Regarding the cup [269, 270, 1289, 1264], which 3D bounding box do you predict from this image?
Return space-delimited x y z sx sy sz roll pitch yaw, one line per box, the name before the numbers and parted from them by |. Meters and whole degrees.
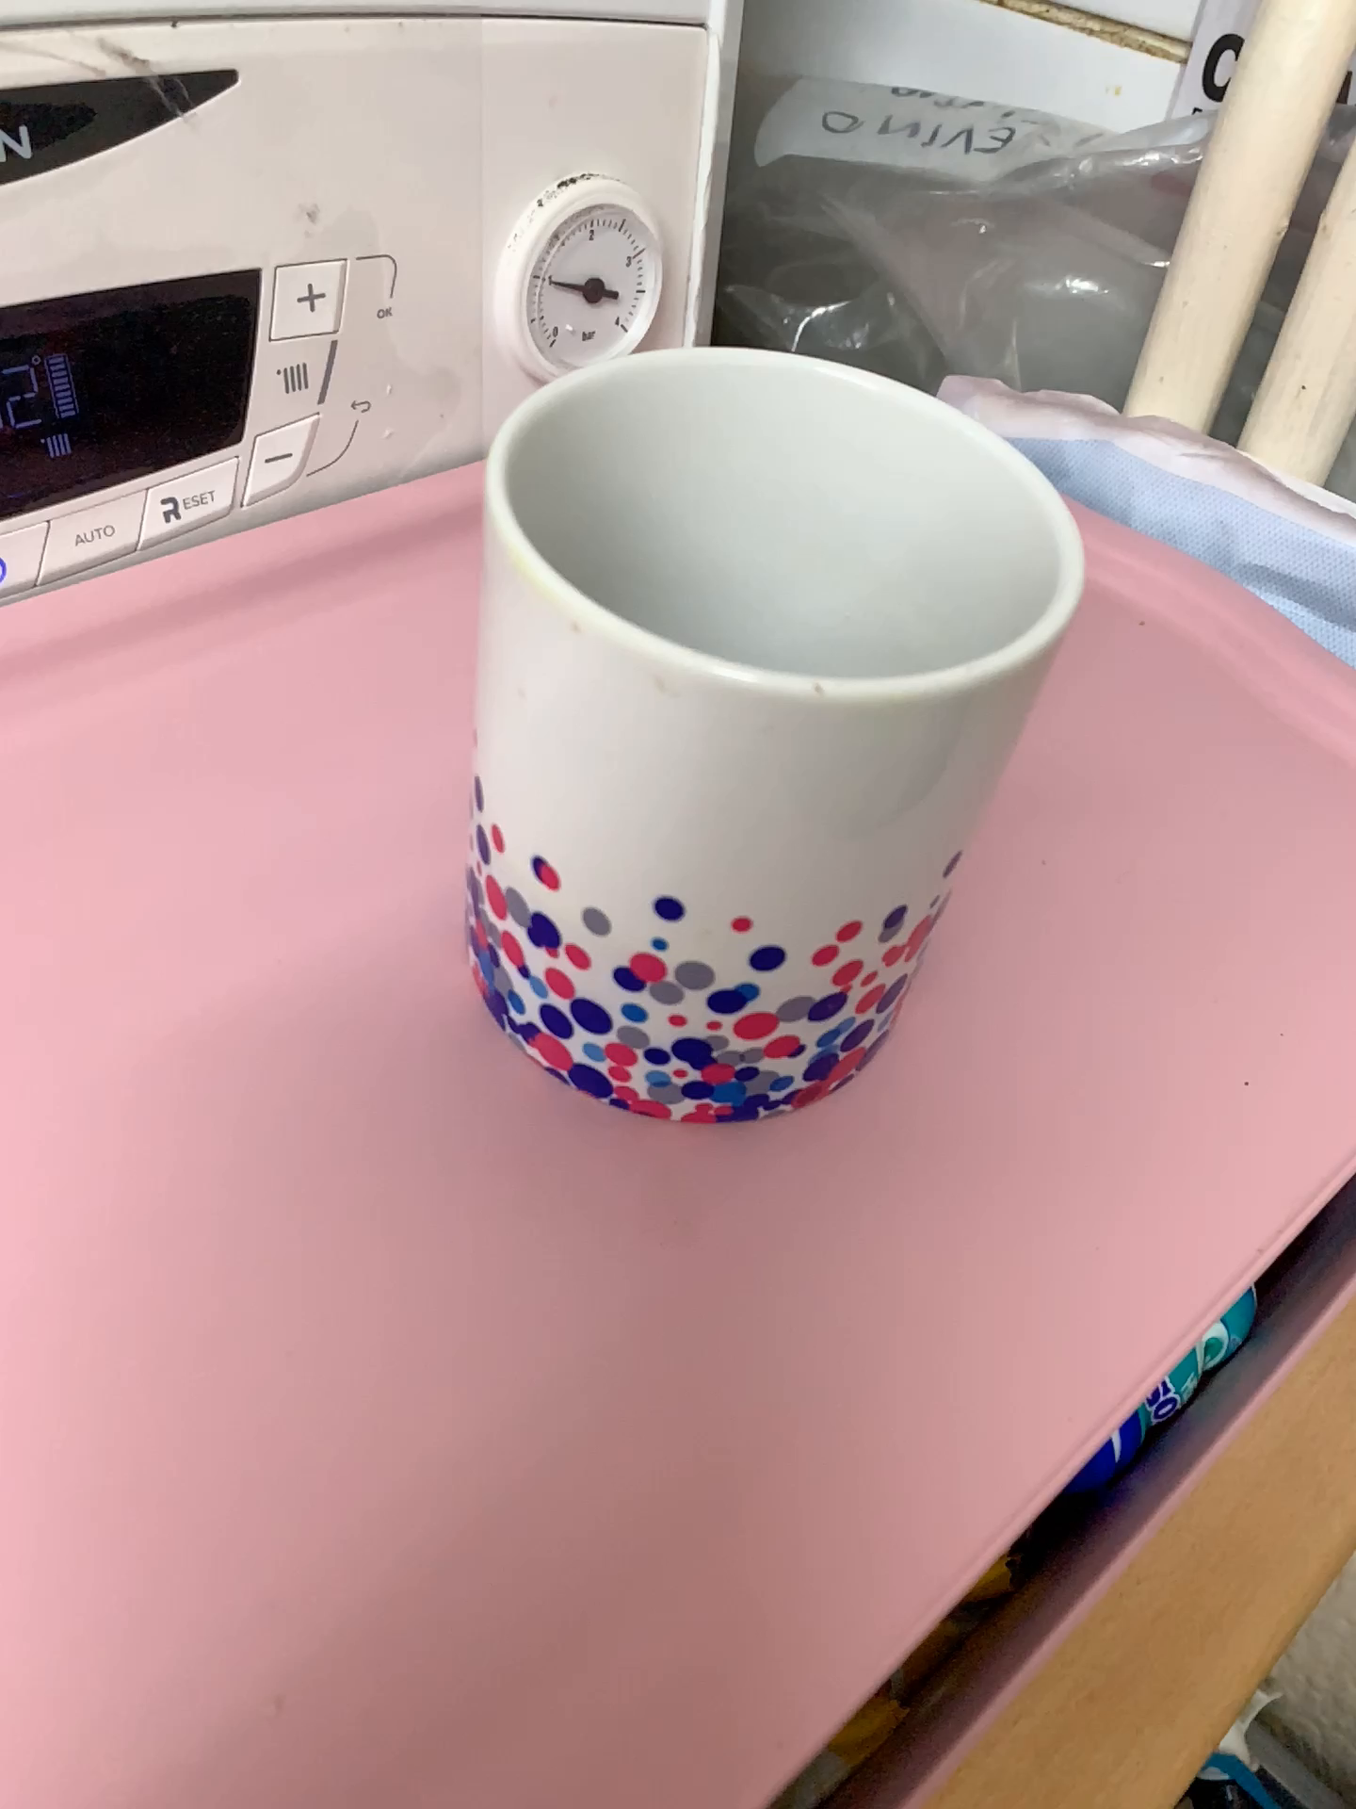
cup | 0.015 -0.030 0.220 0.080 0.089 0.121 37 50 28
